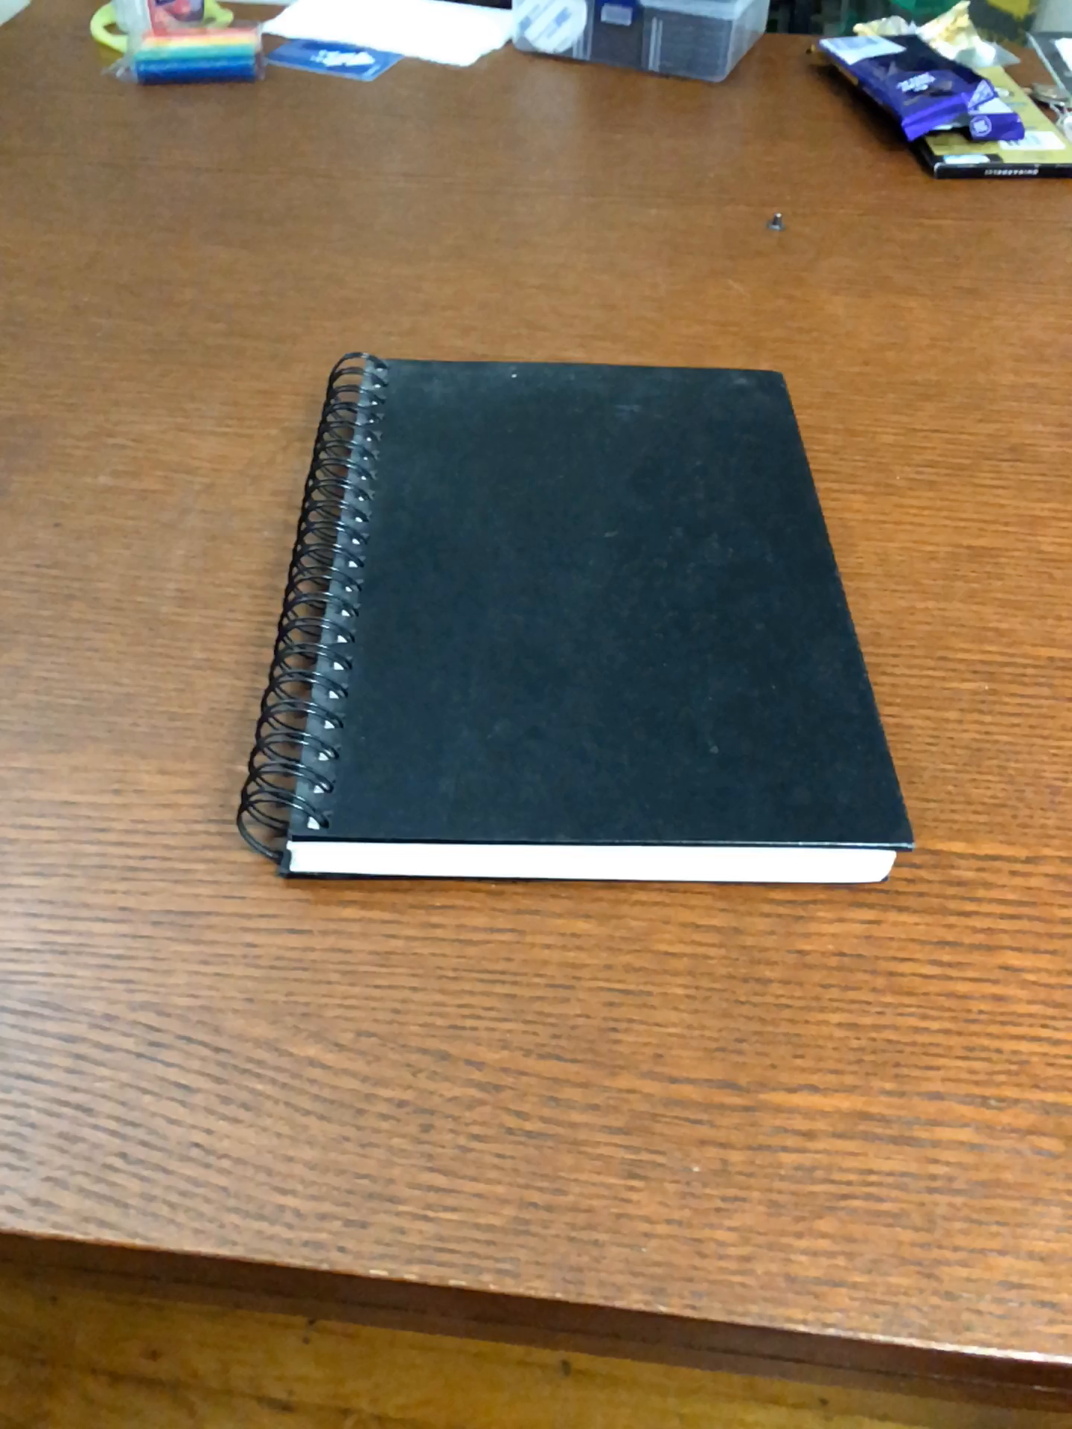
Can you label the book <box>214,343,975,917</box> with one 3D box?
[{"bbox_3d":[0.013,-0.049,0.411,0.200,0.030,0.261,0,46,-2],"label":"book"}]
